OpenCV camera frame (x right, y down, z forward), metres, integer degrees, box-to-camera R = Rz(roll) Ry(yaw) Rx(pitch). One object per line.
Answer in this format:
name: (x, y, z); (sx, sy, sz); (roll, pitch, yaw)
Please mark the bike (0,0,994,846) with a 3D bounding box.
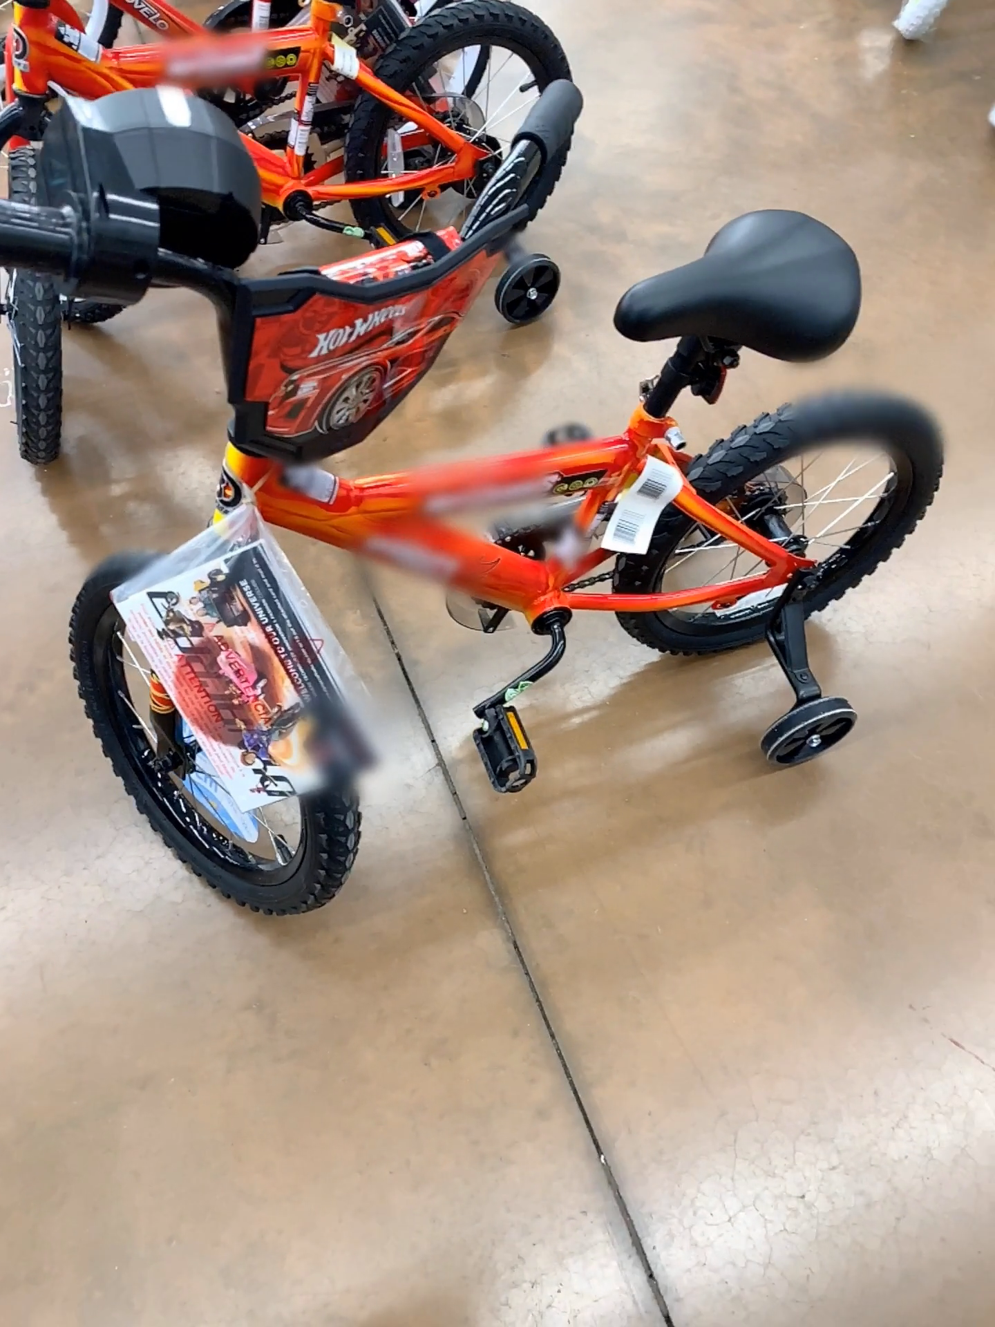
bike: (-0.014, -0.276, 1.055); (0.994, 0.821, 0.504); (-14, 58, -3)
